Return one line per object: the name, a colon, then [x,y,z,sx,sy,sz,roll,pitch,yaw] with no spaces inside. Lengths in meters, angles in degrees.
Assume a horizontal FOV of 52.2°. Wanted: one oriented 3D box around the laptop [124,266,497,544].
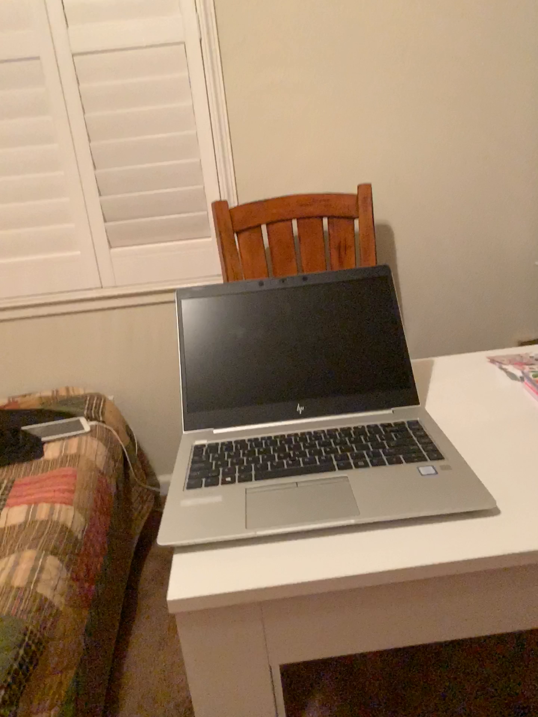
laptop: [0.036,0.016,0.648,0.310,0.159,0.366,-6,18,-1]
